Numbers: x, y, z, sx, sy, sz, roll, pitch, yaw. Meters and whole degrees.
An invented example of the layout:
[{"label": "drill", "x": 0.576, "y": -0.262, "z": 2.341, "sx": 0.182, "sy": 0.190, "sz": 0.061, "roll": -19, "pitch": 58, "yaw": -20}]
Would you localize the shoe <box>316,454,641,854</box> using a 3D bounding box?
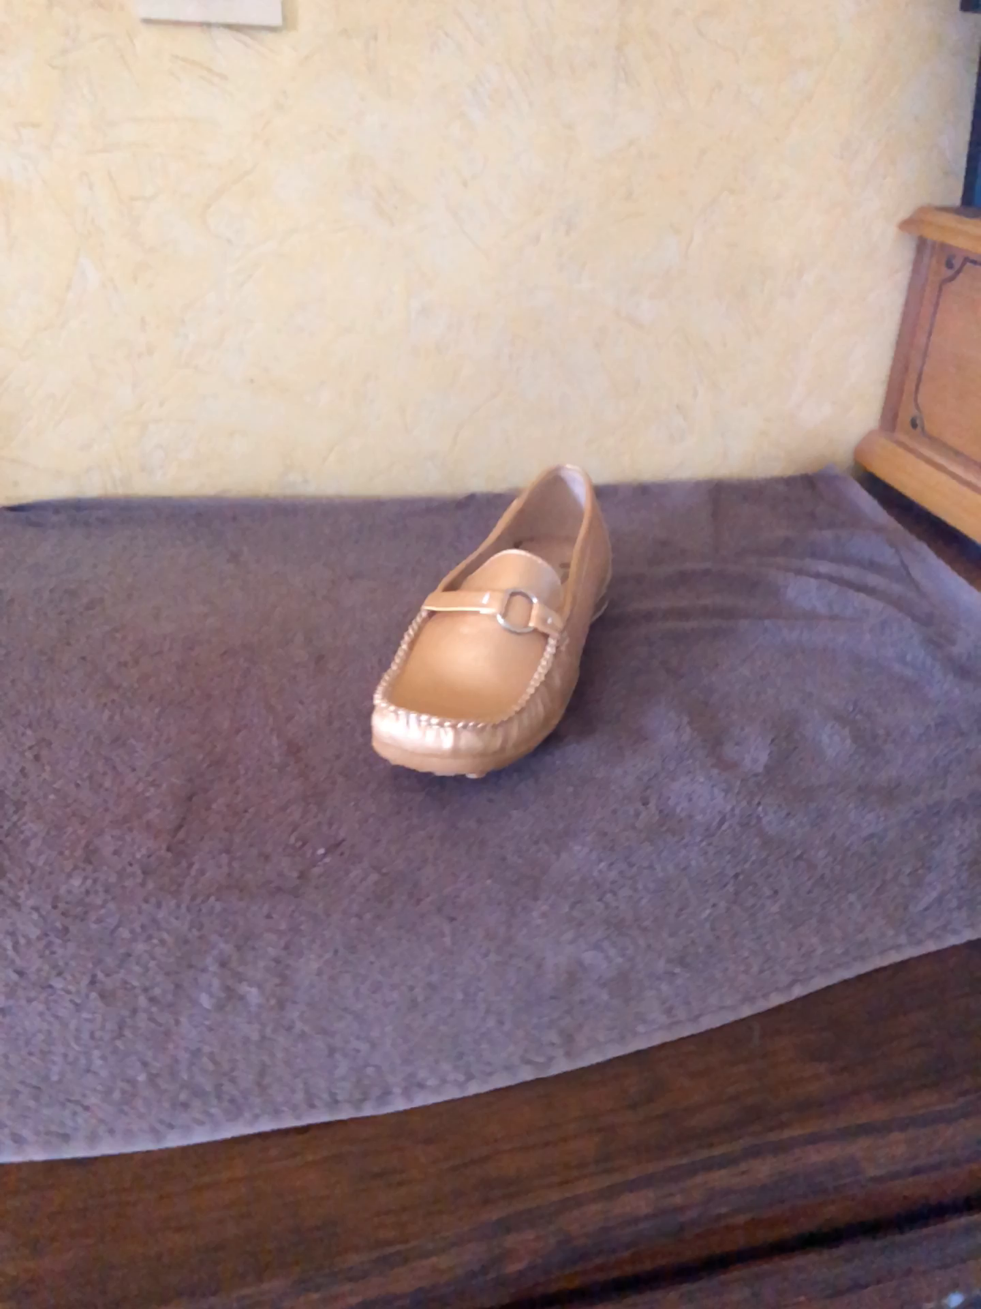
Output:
[{"label": "shoe", "x": 0.007, "y": -0.019, "z": 0.558, "sx": 0.080, "sy": 0.080, "sz": 0.262, "roll": 11, "pitch": 31, "yaw": 15}]
